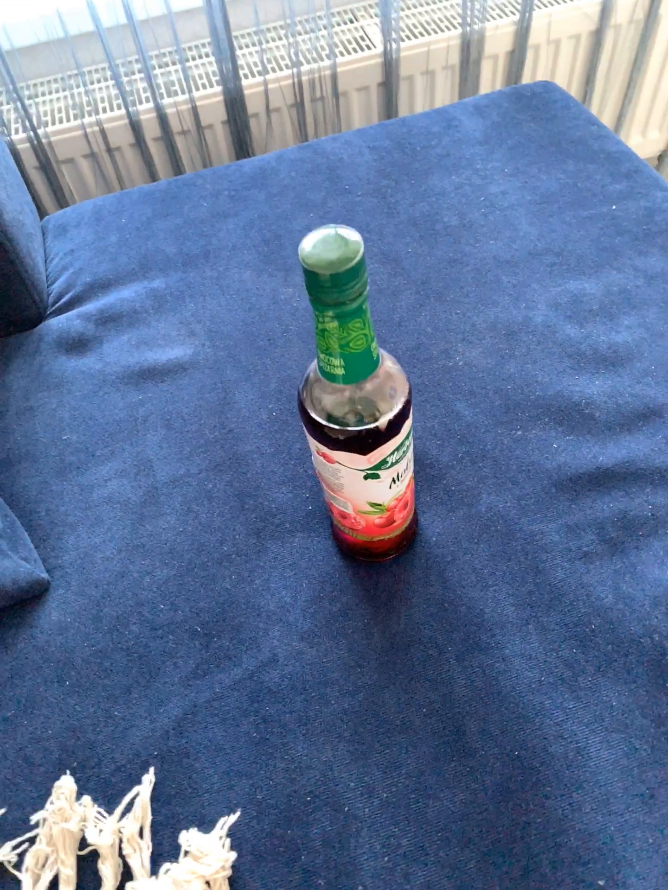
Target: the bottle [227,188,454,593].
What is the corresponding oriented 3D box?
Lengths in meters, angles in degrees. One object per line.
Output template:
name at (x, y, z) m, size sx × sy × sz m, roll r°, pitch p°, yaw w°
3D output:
bottle at (0.014, -0.010, 0.393) m, size 0.070 × 0.249 × 0.070 m, roll -3°, pitch 55°, yaw 4°
